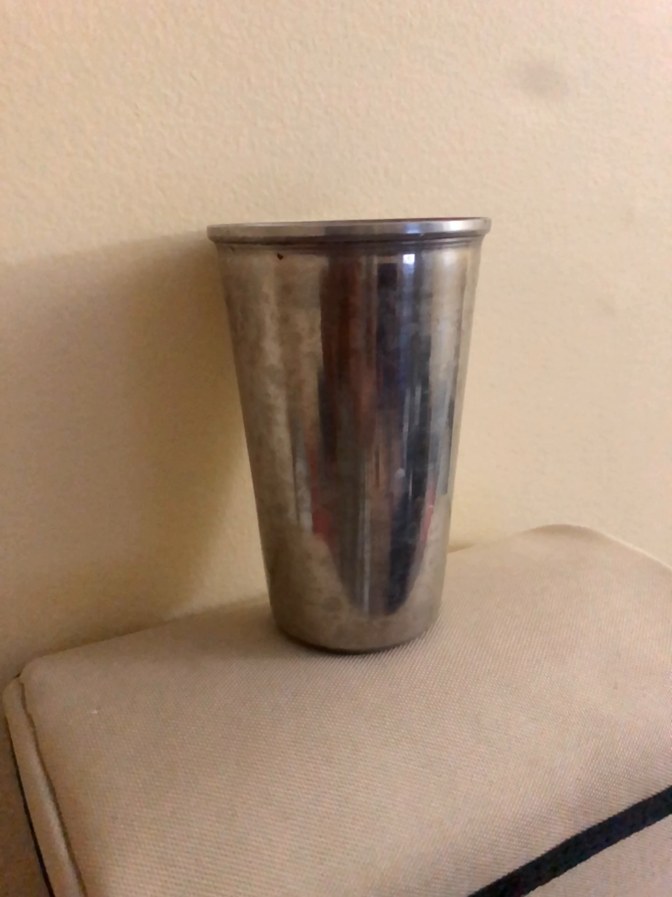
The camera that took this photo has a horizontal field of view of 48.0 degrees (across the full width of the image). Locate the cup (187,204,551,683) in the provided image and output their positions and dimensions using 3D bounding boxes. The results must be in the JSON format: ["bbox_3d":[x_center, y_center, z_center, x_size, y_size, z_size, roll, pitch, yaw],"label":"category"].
[{"bbox_3d":[0.007,-0.010,0.221,0.074,0.113,0.073,-1,14,0],"label":"cup"}]
